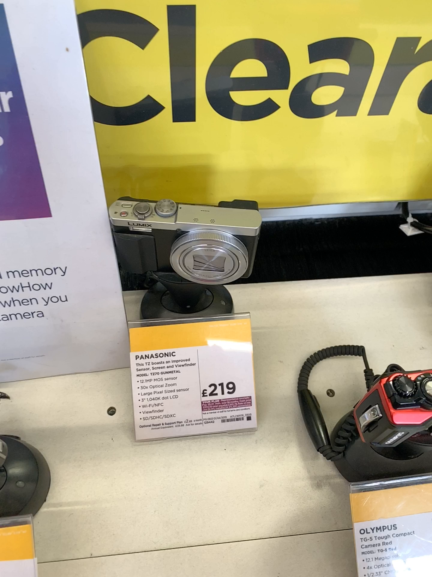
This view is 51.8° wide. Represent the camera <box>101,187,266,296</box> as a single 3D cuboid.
[{"bbox_3d":[-0.022,-0.033,0.336,0.110,0.069,0.040,4,57,0],"label":"camera"}]
